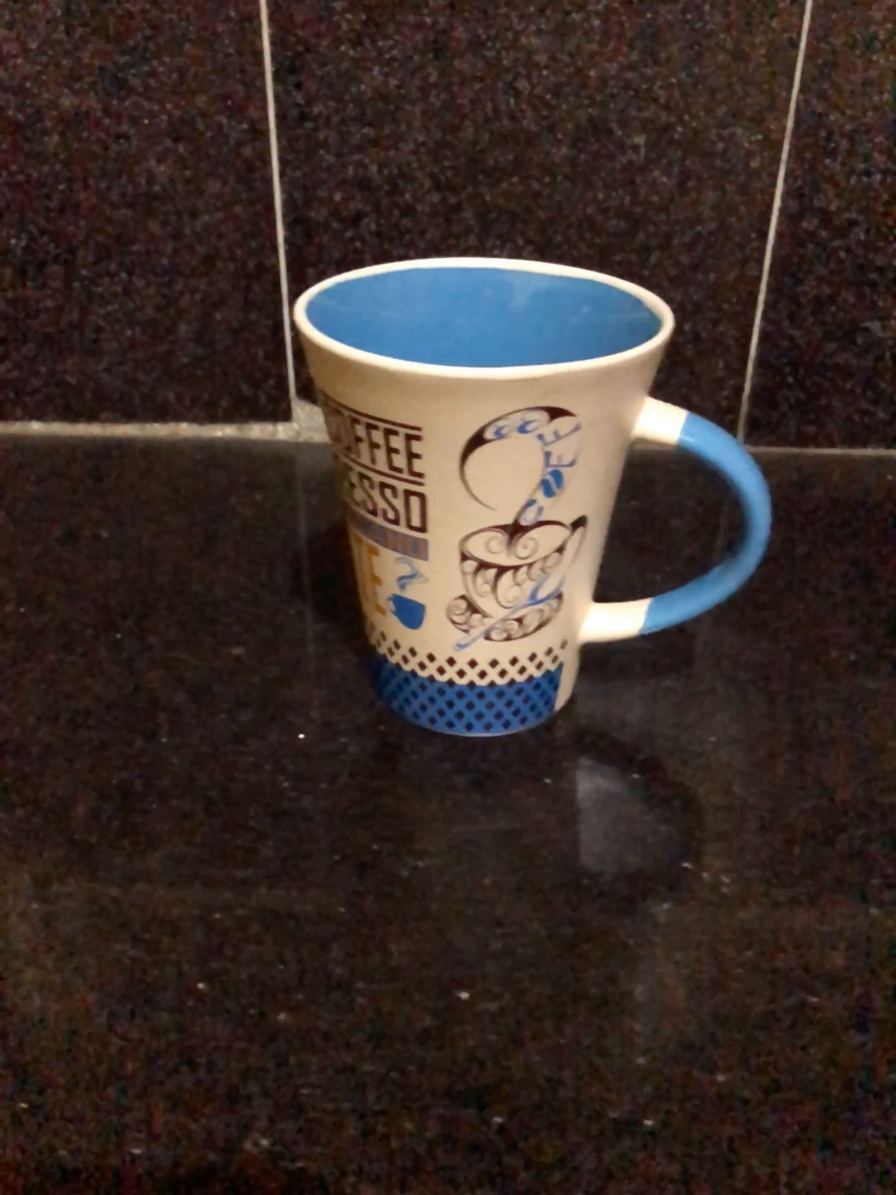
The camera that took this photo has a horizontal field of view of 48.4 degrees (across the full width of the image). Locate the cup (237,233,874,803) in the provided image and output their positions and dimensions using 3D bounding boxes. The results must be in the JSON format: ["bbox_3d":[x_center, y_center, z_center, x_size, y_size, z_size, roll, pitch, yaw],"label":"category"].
[{"bbox_3d":[0.027,-0.027,0.269,0.130,0.109,0.091,8,33,10],"label":"cup"}]
